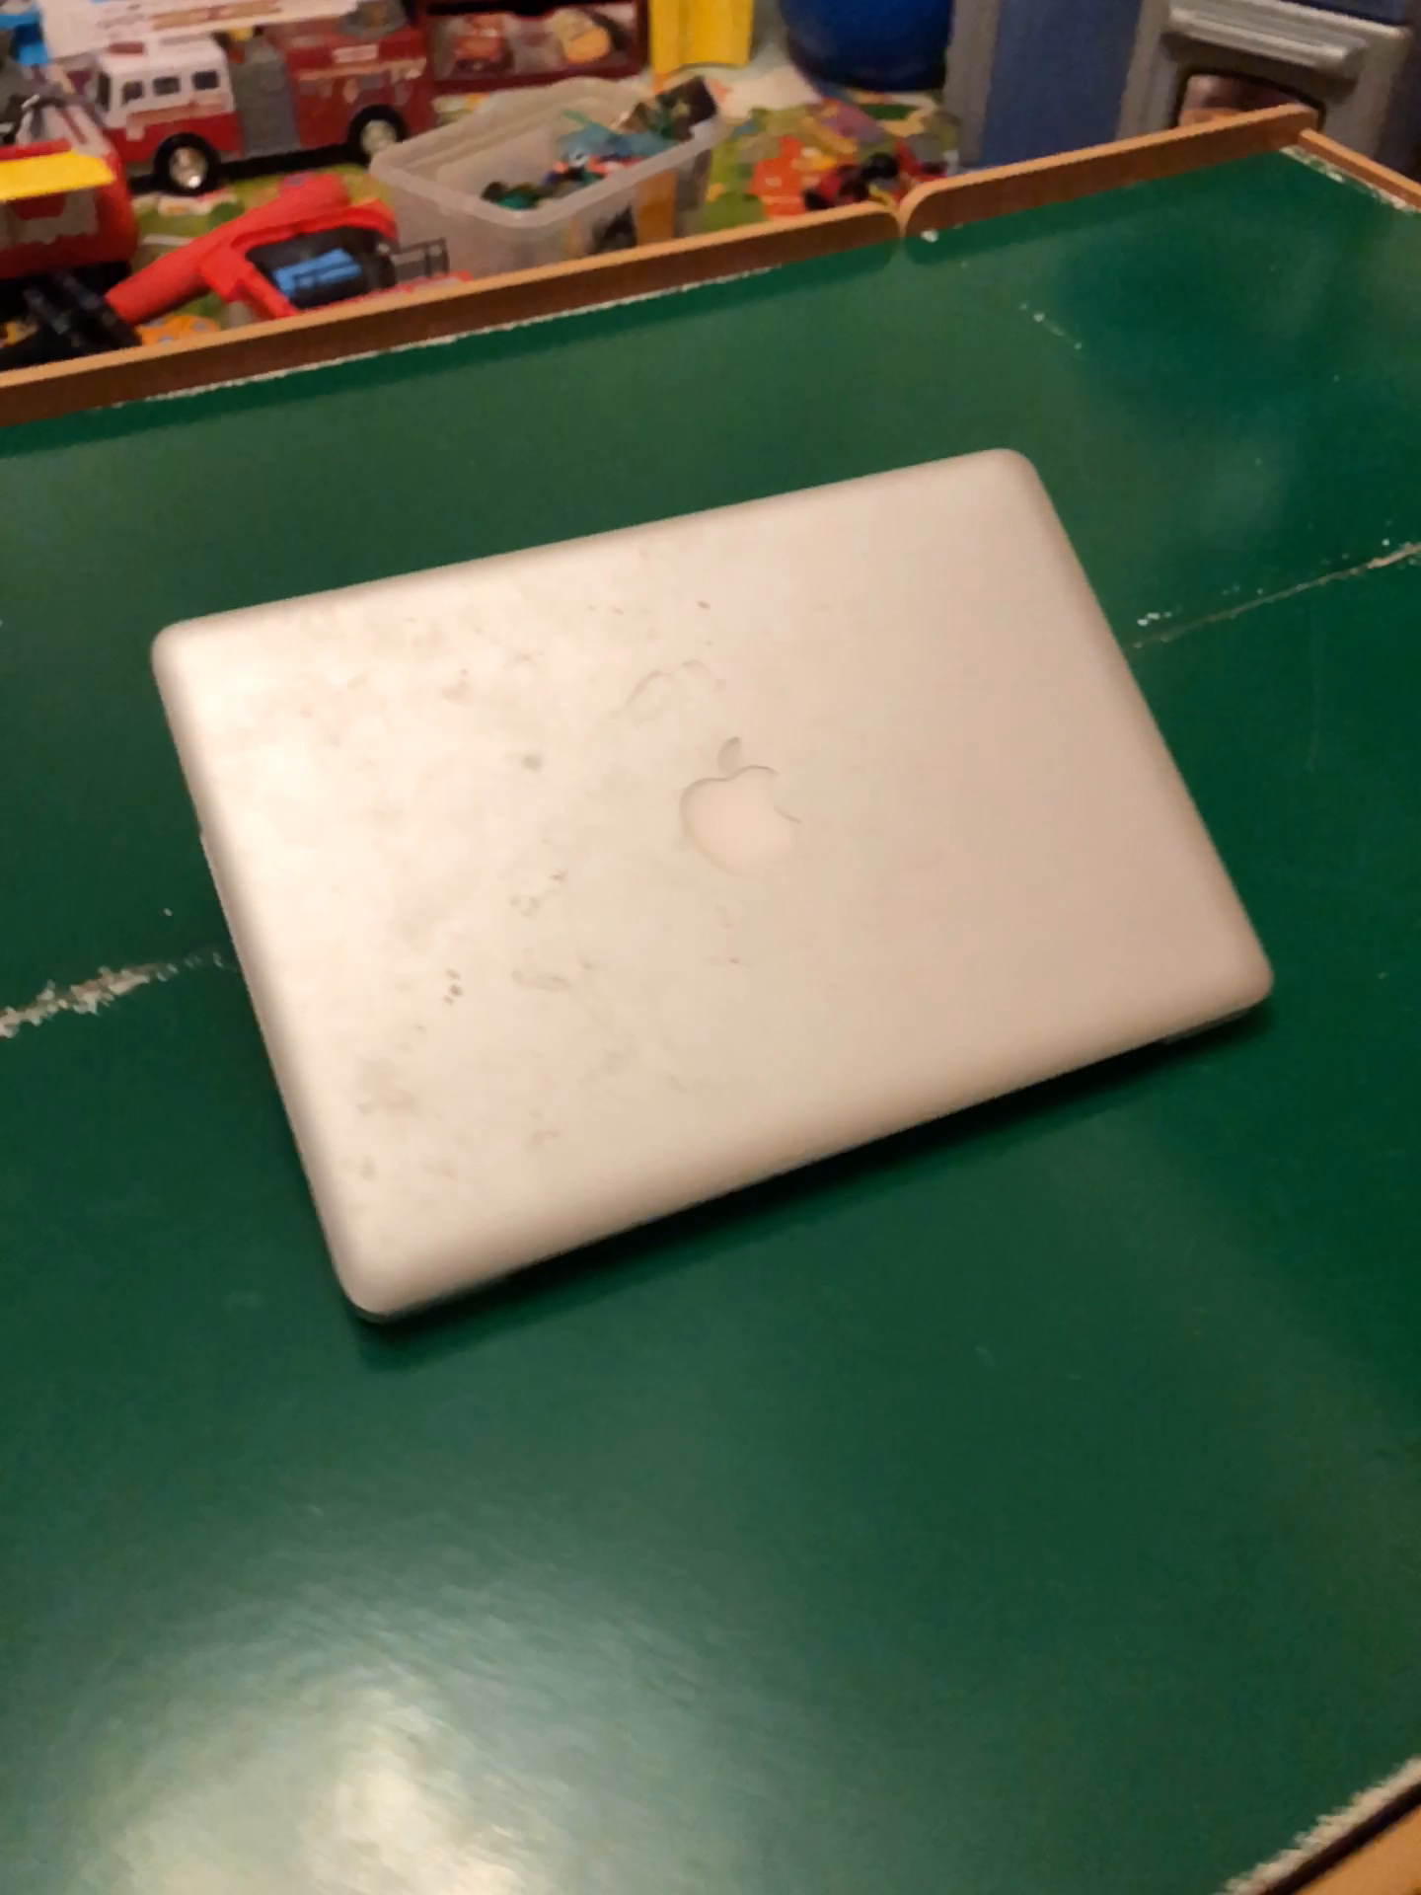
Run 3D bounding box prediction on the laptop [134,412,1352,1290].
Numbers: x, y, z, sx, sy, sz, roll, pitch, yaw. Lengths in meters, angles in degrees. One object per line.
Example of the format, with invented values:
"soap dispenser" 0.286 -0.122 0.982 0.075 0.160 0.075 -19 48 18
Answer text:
"laptop" 0.001 -0.051 0.520 0.315 0.098 0.211 -17 51 -16
